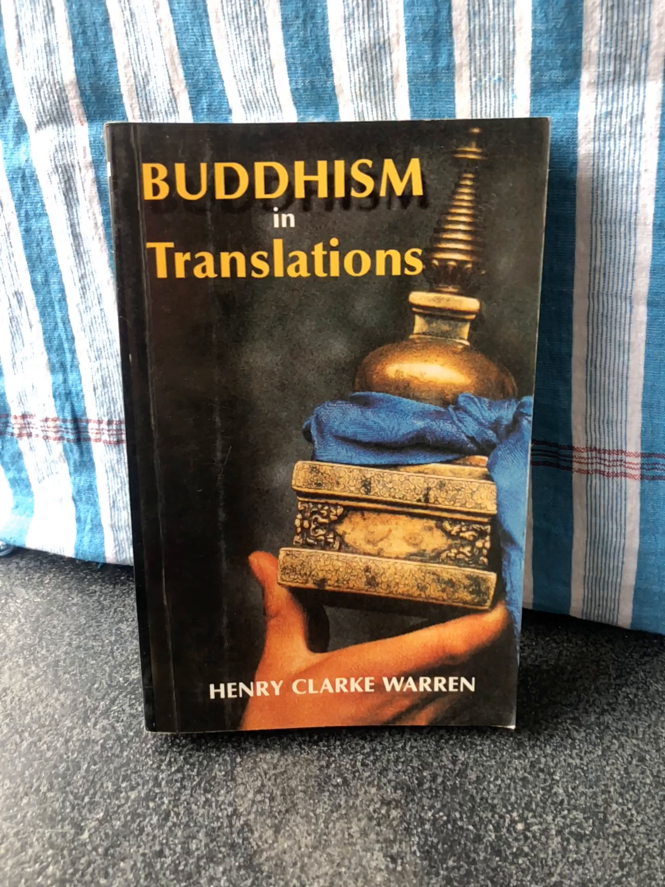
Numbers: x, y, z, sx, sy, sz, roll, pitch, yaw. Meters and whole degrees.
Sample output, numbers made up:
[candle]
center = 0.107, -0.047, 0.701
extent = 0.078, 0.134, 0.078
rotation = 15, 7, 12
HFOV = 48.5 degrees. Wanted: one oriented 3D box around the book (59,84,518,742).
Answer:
[book]
center = -0.012, -0.008, 0.262
extent = 0.140, 0.210, 0.050
rotation = -1, 7, 0
